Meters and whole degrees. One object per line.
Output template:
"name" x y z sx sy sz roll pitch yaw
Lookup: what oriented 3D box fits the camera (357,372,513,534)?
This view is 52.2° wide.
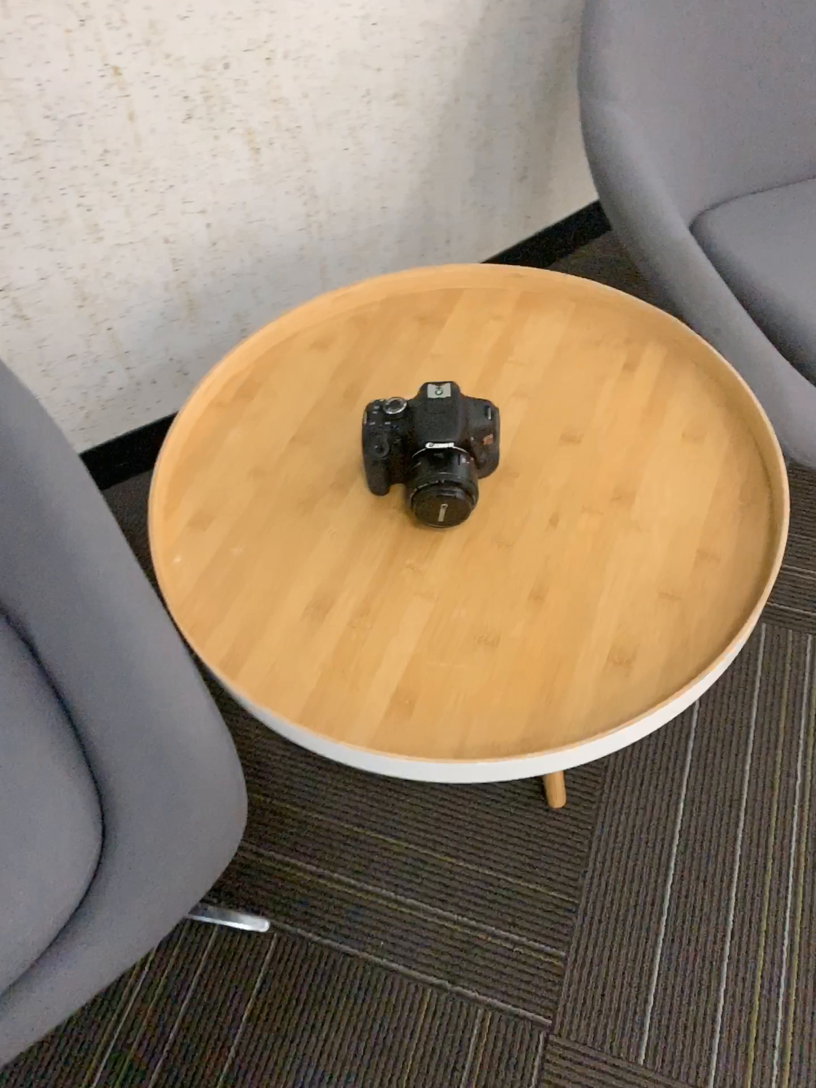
"camera" 0.027 -0.085 0.782 0.134 0.090 0.119 -1 56 4
